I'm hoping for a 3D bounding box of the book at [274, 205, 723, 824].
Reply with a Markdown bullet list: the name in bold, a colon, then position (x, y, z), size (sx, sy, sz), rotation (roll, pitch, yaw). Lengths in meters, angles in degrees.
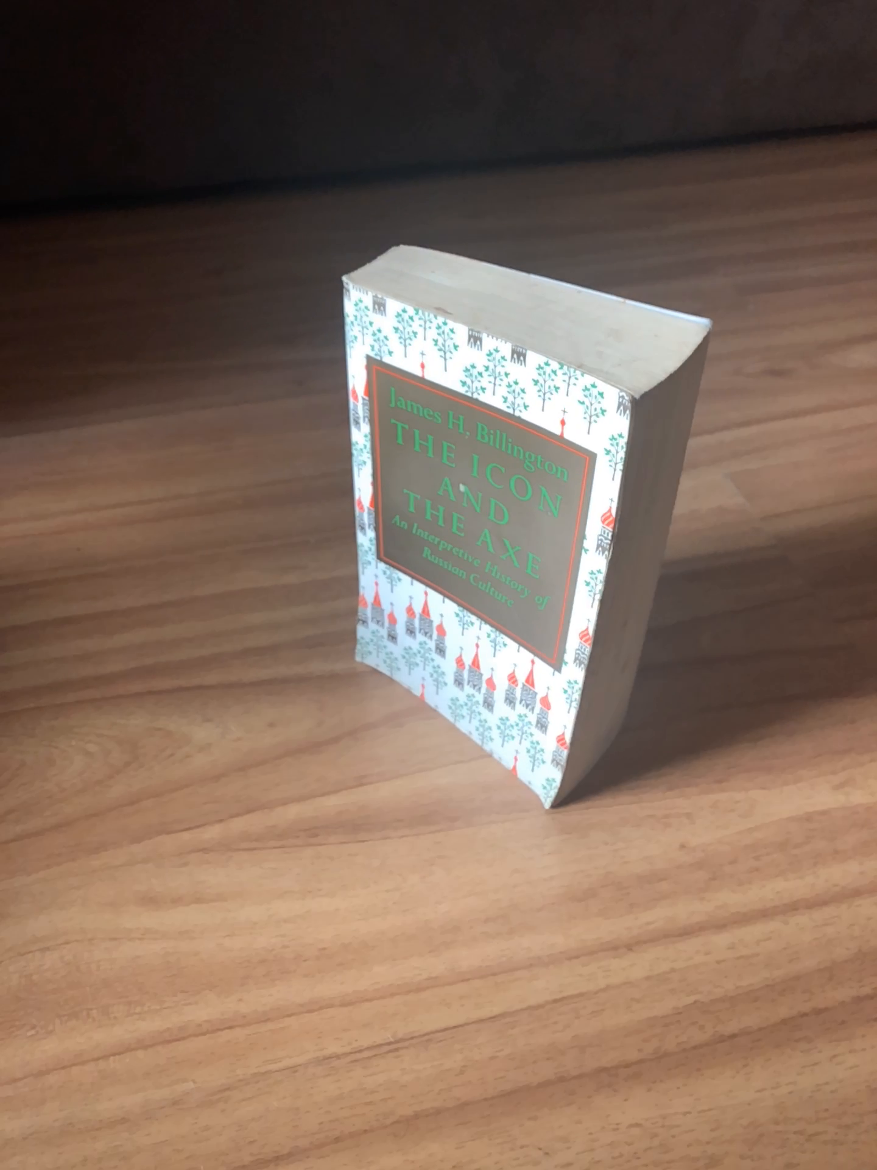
- **book**: position (0.013, -0.027, 0.393), size (0.150, 0.199, 0.060), rotation (32, 48, 32)
